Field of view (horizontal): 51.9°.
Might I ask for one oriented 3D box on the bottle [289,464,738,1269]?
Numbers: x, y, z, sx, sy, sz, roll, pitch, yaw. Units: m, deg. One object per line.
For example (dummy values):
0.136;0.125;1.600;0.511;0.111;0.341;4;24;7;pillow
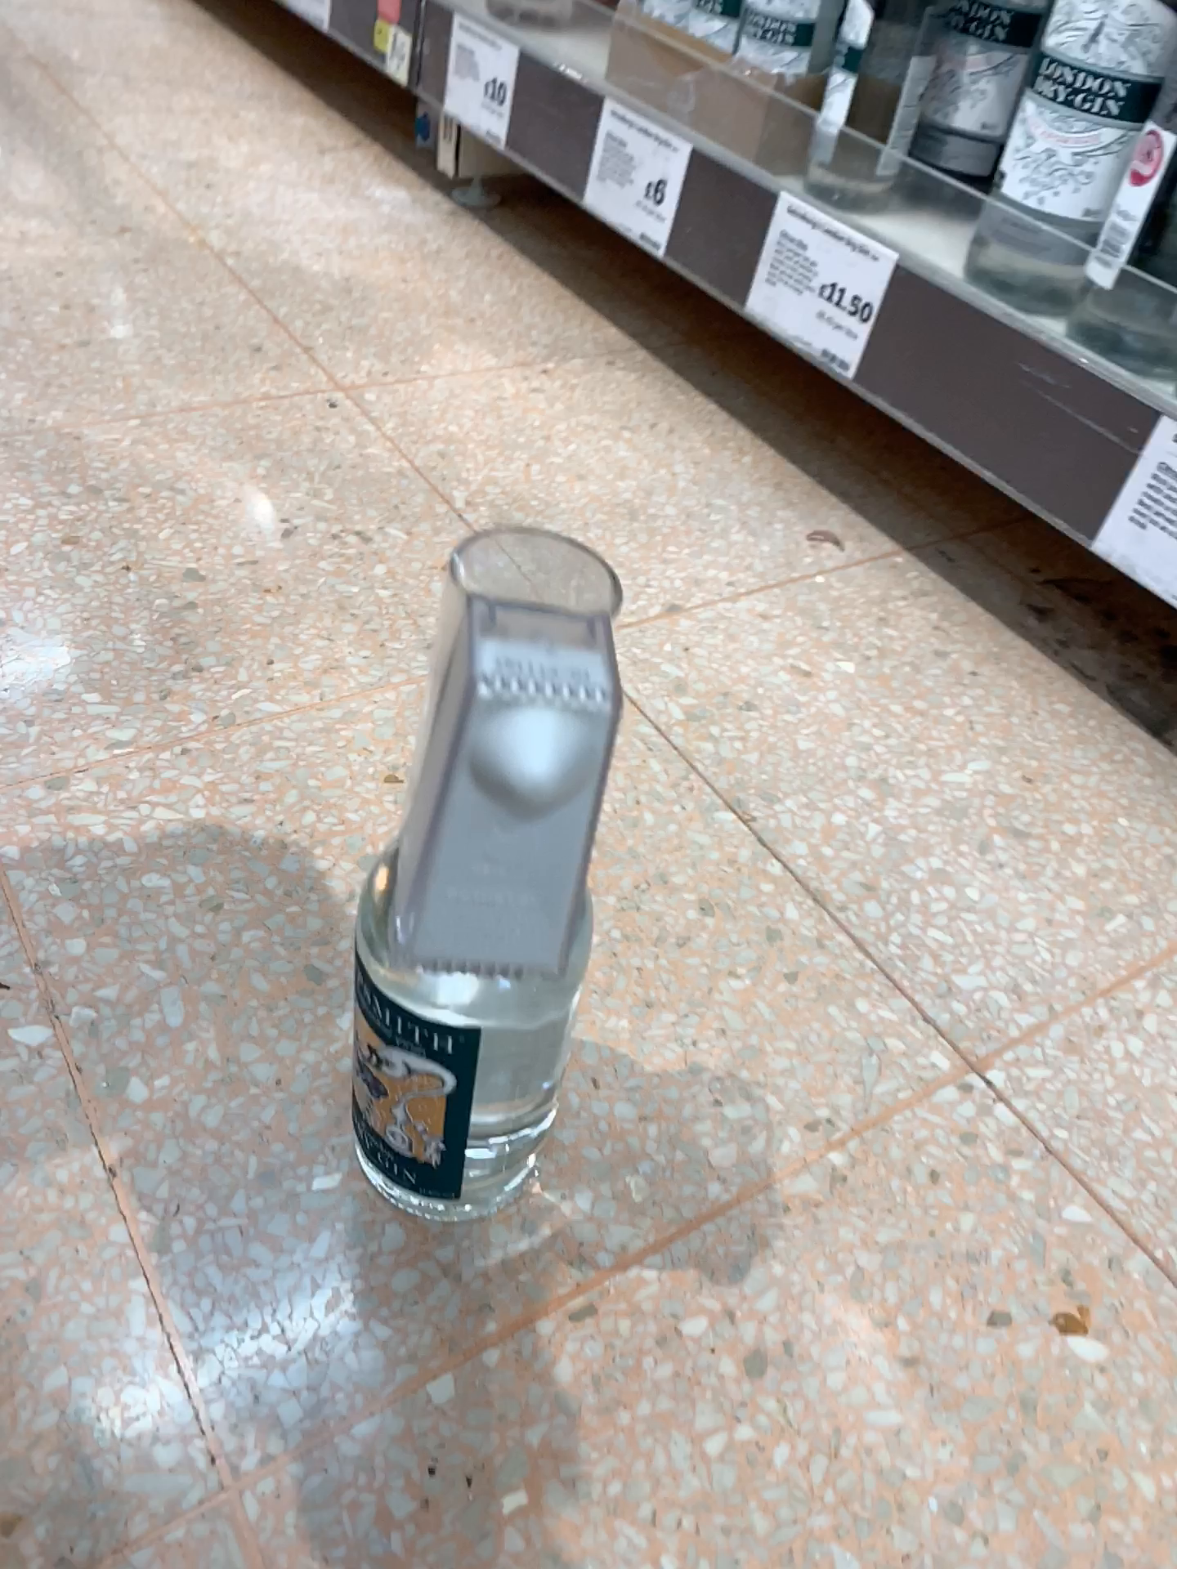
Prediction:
-0.032;0.035;0.338;0.069;0.222;0.075;6;42;-5;bottle
